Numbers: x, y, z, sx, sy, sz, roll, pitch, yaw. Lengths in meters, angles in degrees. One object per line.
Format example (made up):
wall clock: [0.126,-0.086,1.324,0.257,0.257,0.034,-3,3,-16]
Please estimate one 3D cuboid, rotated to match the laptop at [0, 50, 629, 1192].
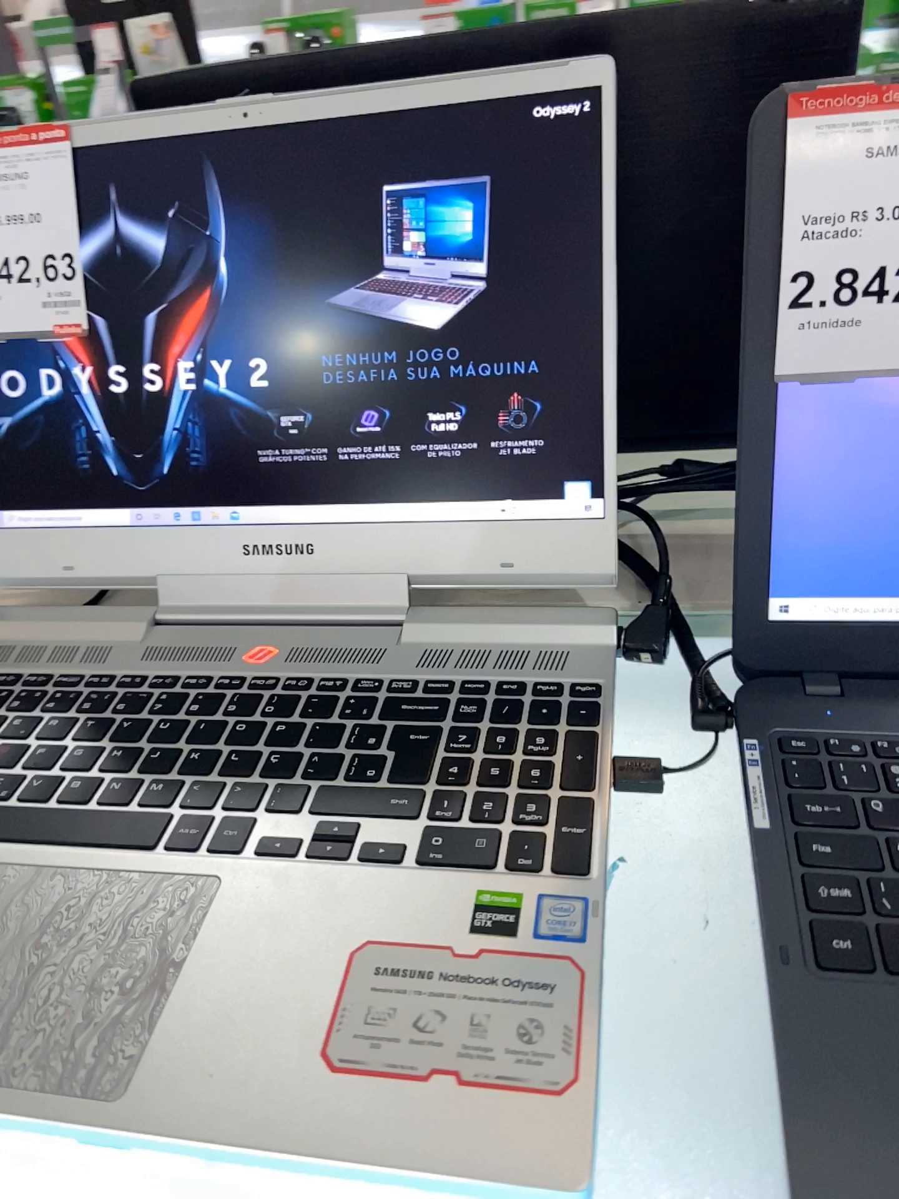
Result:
laptop: [-0.116,-0.044,0.366,0.353,0.225,0.370,0,35,13]
